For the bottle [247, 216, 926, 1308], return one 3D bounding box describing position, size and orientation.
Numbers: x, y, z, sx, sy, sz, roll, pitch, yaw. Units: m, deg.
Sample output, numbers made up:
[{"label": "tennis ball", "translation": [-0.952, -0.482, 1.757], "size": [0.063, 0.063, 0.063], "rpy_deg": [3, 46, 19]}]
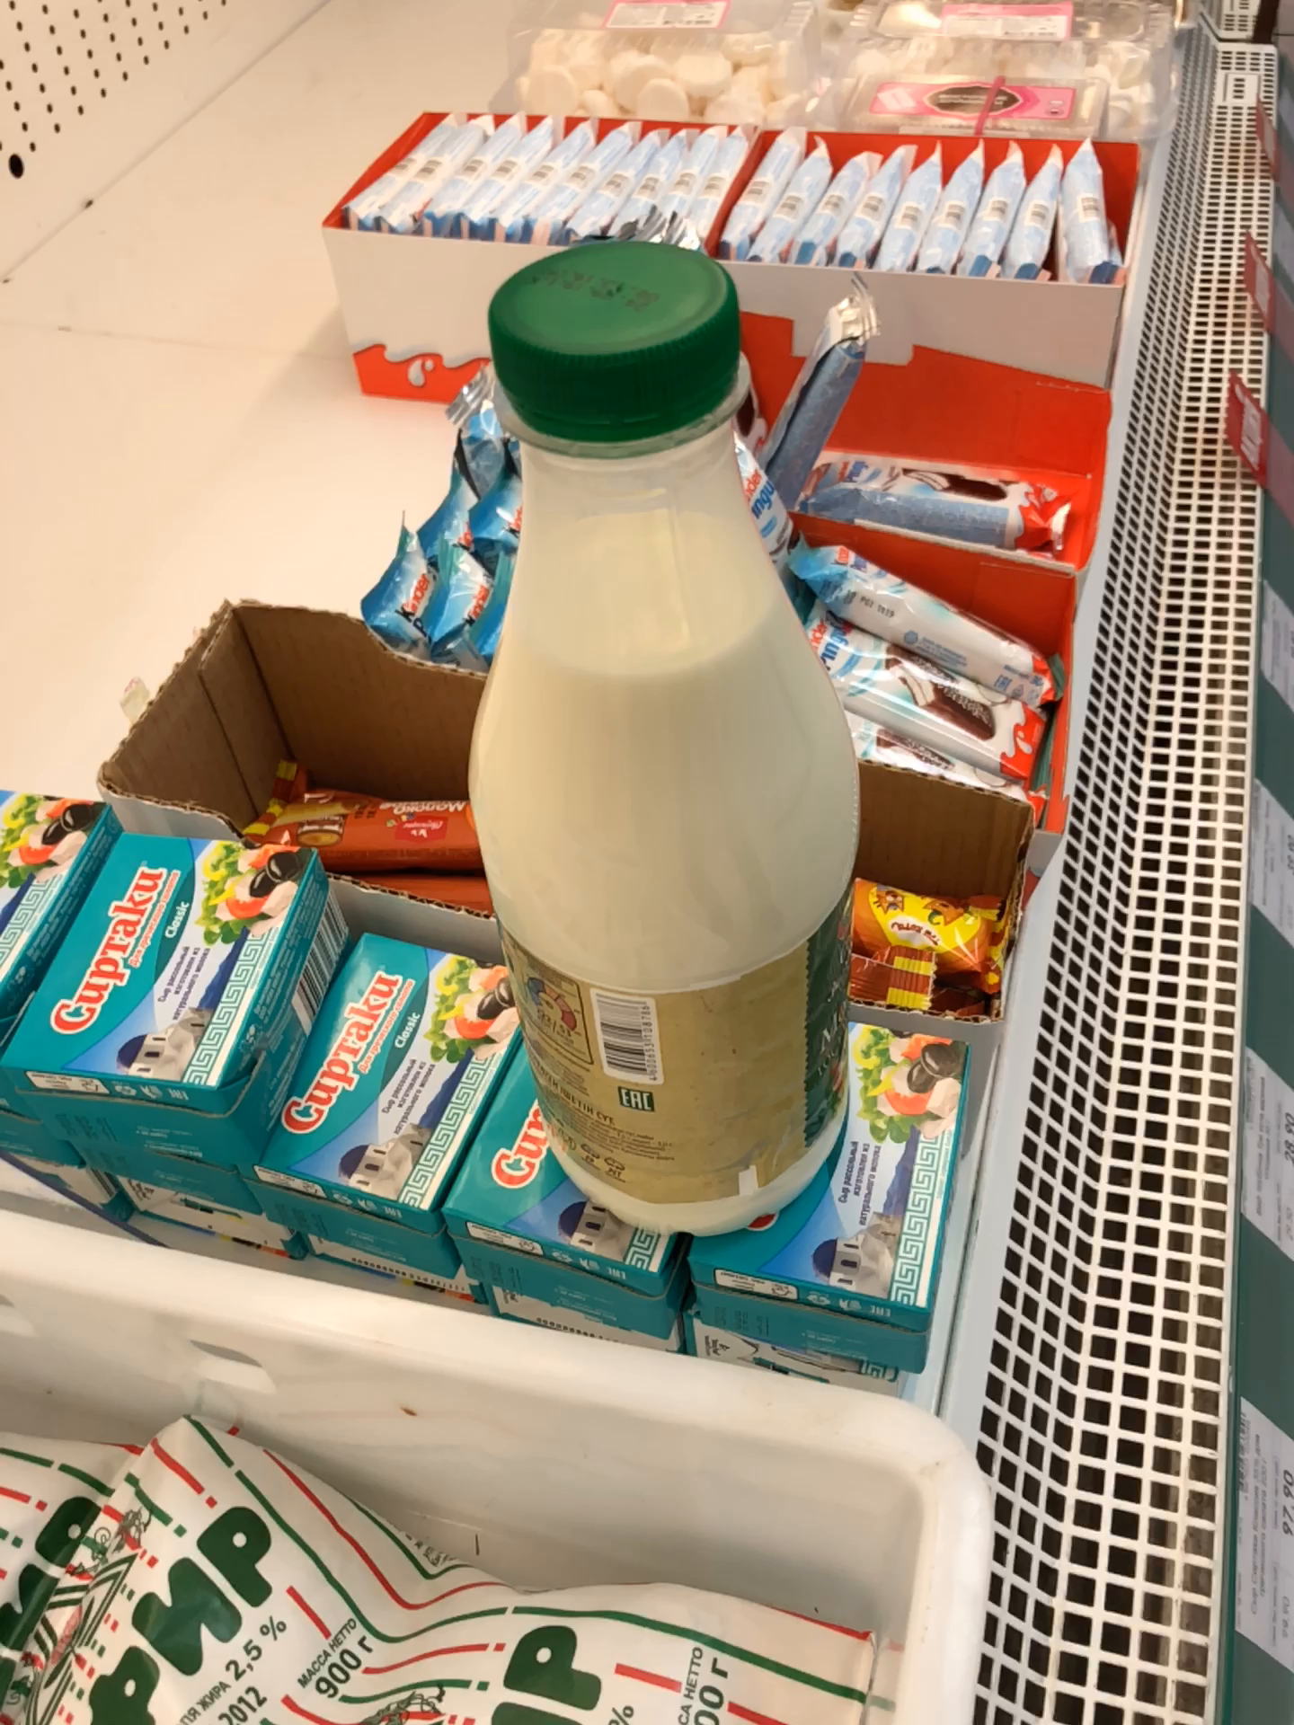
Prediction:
[{"label": "bottle", "translation": [0.001, -0.002, 0.316], "size": [0.085, 0.238, 0.081], "rpy_deg": [-2, 48, 3]}]
